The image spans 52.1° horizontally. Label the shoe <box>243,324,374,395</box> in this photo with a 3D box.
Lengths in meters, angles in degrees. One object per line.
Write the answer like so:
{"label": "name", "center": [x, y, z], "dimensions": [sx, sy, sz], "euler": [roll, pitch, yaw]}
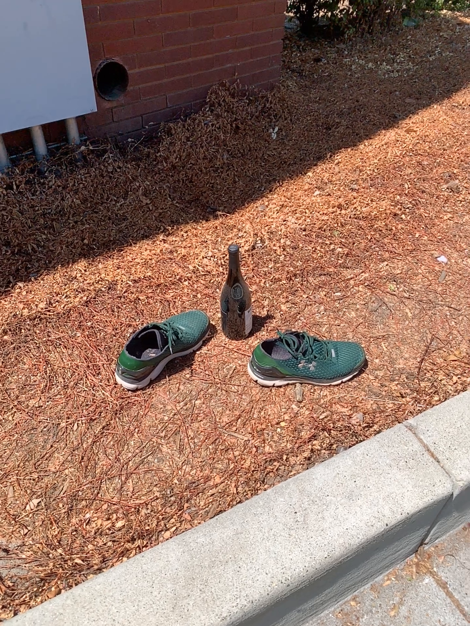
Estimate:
{"label": "shoe", "center": [0.175, 0.113, 1.193], "dimensions": [0.290, 0.099, 0.121], "euler": [-3, 42, -7]}

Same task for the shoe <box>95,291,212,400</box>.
{"label": "shoe", "center": [-0.201, 0.075, 1.250], "dimensions": [0.120, 0.099, 0.291], "euler": [29, 48, 27]}
